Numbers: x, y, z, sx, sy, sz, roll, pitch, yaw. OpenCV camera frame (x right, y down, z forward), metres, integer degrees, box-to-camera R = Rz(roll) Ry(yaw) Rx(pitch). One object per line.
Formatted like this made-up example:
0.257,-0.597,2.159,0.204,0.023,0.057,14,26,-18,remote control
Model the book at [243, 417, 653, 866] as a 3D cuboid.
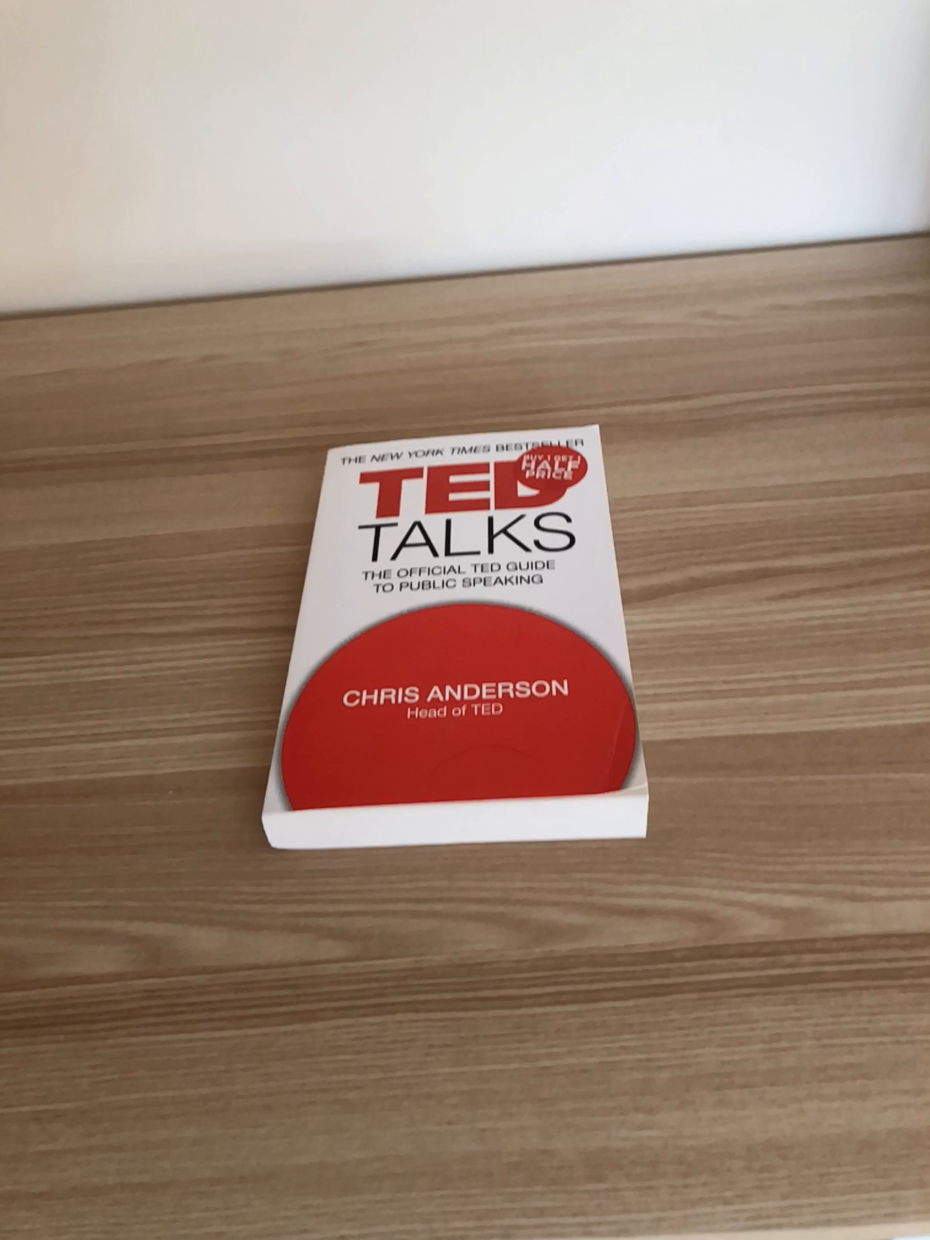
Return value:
-0.004,-0.004,0.431,0.138,0.030,0.221,-3,45,4,book
